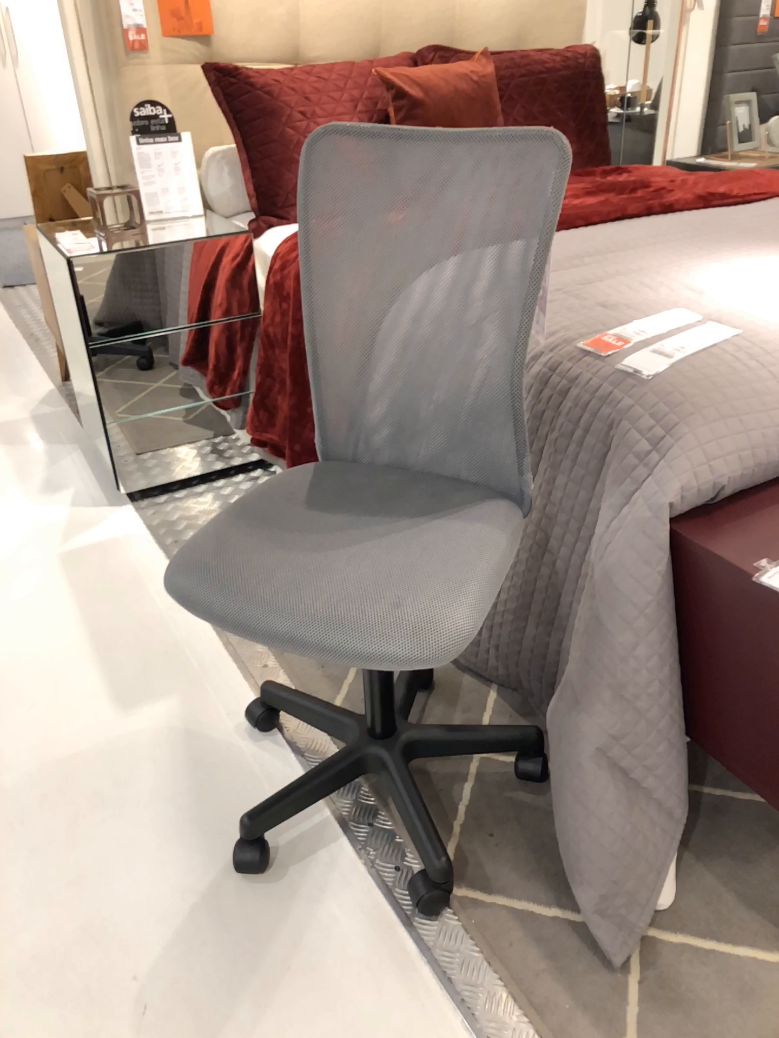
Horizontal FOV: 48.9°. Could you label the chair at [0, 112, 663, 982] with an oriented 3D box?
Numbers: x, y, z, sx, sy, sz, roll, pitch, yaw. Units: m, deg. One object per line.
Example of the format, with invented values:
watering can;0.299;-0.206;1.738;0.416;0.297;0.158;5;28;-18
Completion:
chair;-0.042;-0.029;1.229;0.561;0.943;0.644;16;35;30
